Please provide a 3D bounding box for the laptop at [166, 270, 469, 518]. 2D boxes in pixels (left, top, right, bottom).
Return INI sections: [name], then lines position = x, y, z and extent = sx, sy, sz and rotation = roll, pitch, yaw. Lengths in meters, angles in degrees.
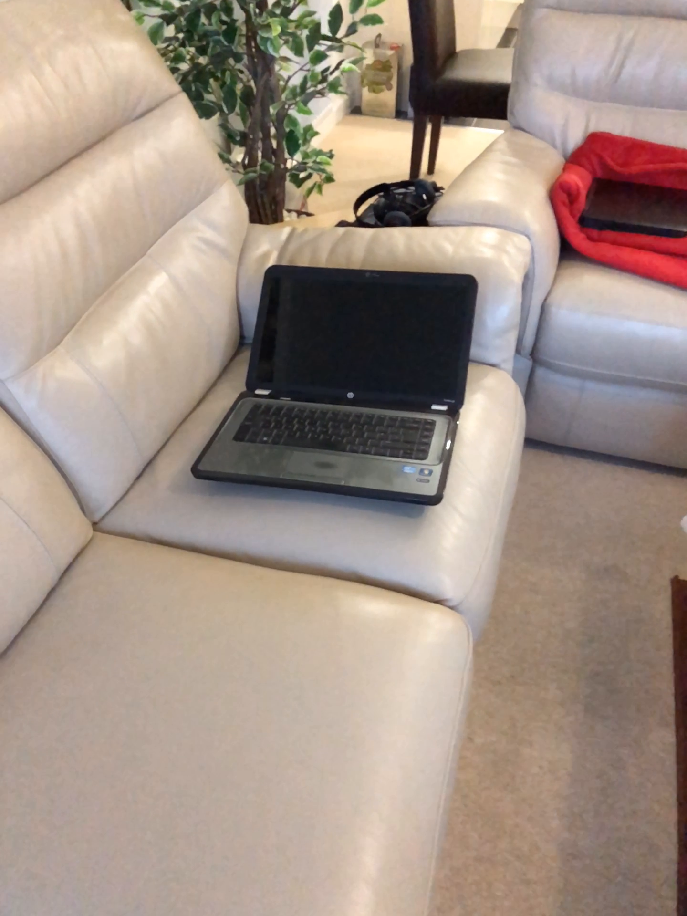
[laptop]
position = -0.014, -0.123, 1.149
extent = 0.358, 0.114, 0.426
rotation = 8, 41, 10
